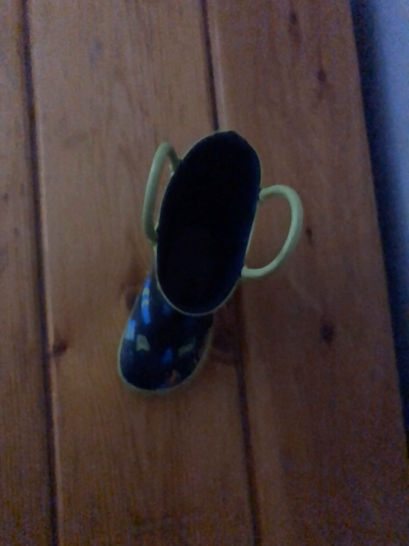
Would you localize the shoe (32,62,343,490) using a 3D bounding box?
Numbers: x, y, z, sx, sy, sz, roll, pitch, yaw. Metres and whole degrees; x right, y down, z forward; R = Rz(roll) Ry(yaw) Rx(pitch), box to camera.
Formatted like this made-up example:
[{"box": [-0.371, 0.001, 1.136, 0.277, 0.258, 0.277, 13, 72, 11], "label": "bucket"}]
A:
[{"box": [-0.011, 0.008, 0.299, 0.080, 0.200, 0.170, 21, 82, -2], "label": "shoe"}]
